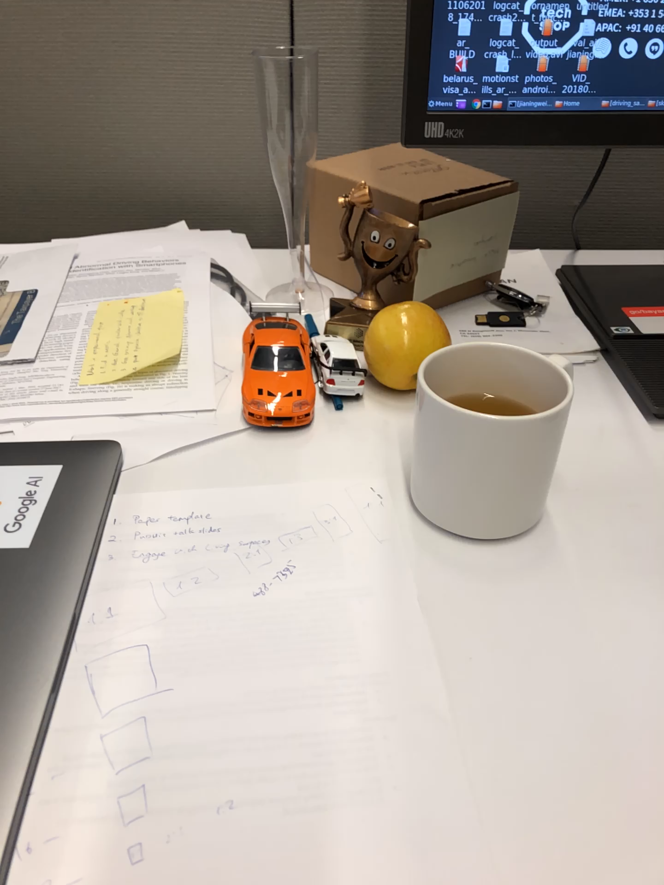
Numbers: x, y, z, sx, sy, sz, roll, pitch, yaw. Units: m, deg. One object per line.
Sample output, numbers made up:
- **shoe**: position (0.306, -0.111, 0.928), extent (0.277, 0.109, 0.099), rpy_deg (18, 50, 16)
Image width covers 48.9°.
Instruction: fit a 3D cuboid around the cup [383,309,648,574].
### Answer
- **cup**: position (0.100, -0.007, 0.405), extent (0.080, 0.080, 0.120), rpy_deg (30, 45, 35)
